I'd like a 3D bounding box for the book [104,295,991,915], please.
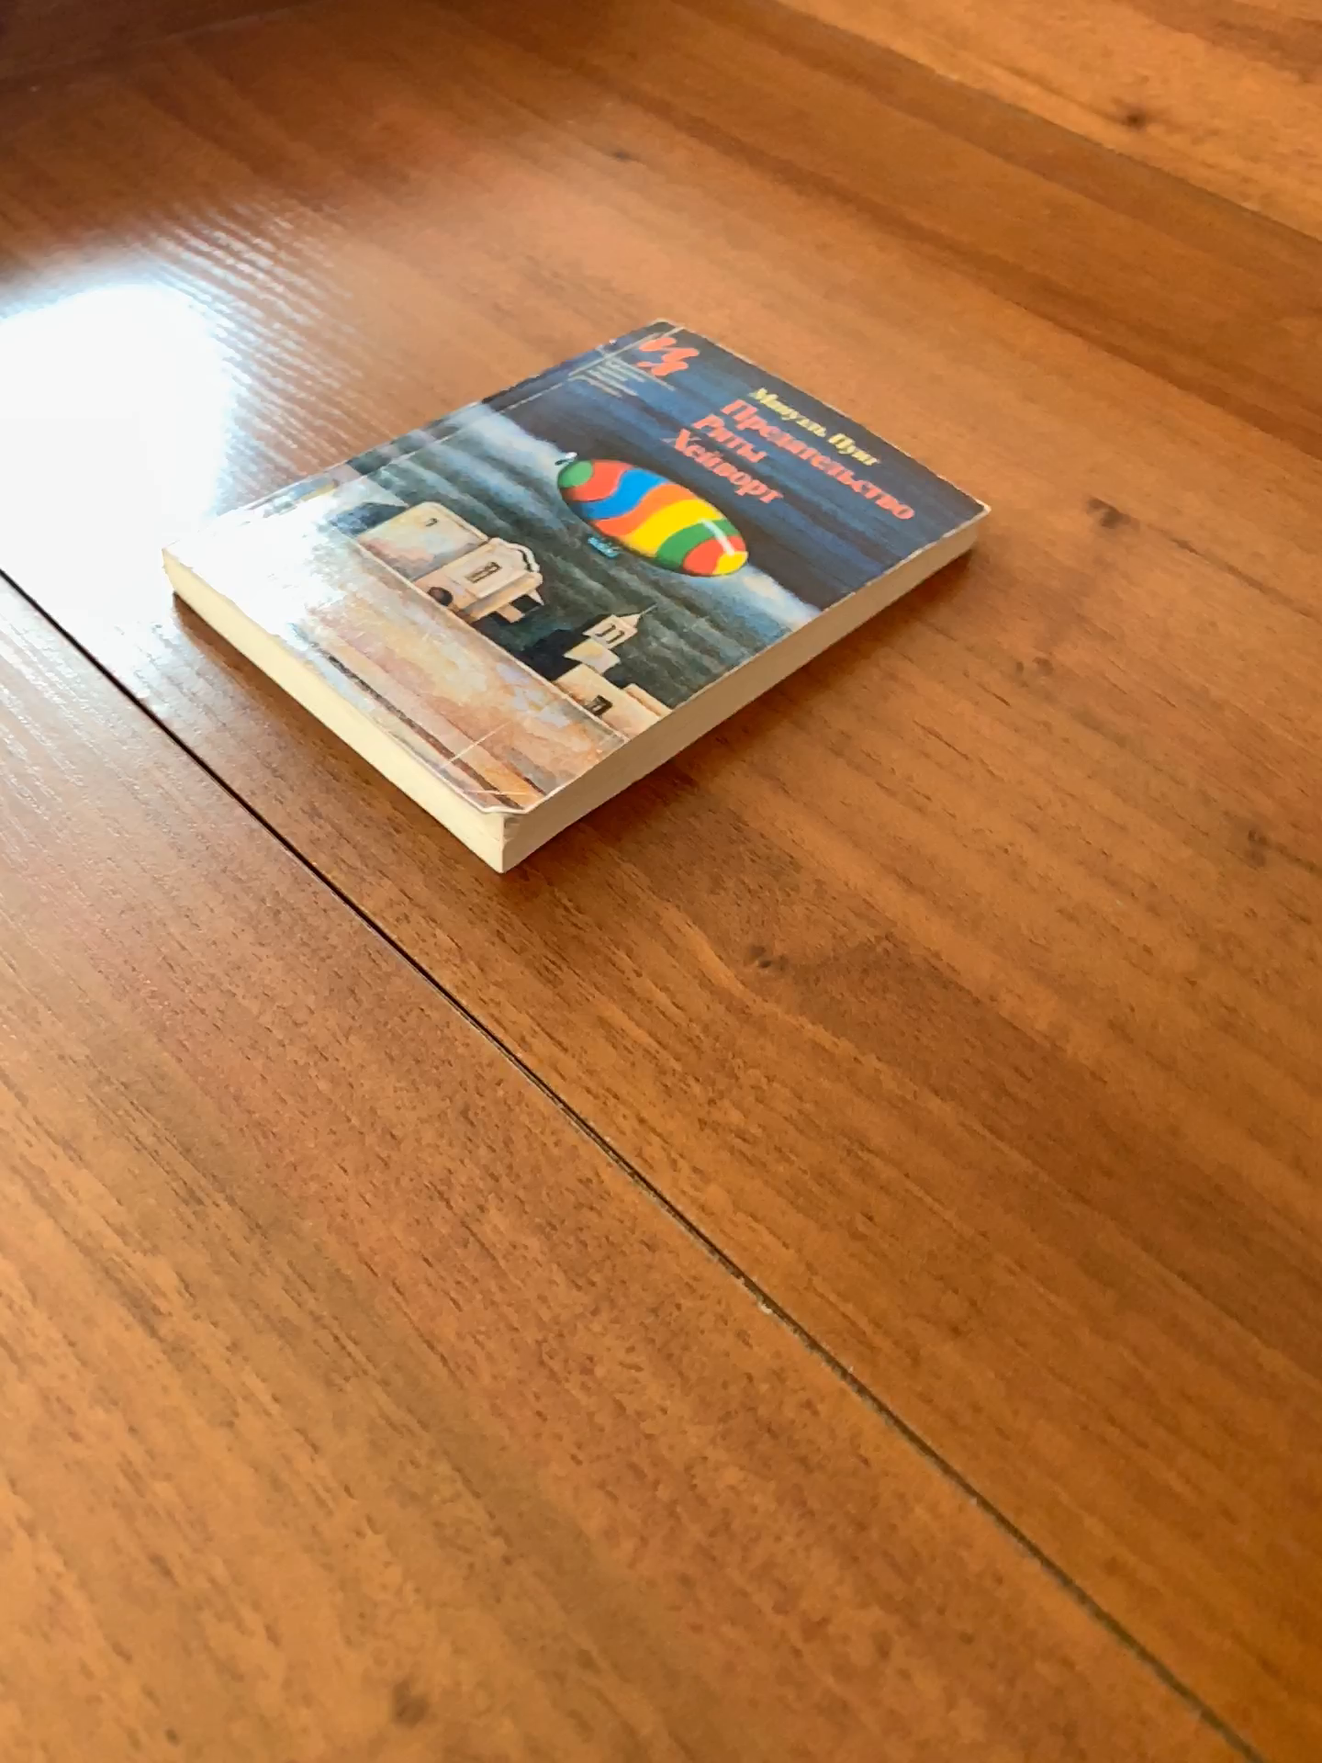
[{"bbox_3d":[-0.020,-0.076,0.312,0.121,0.016,0.158,39,57,22],"label":"book"}]
